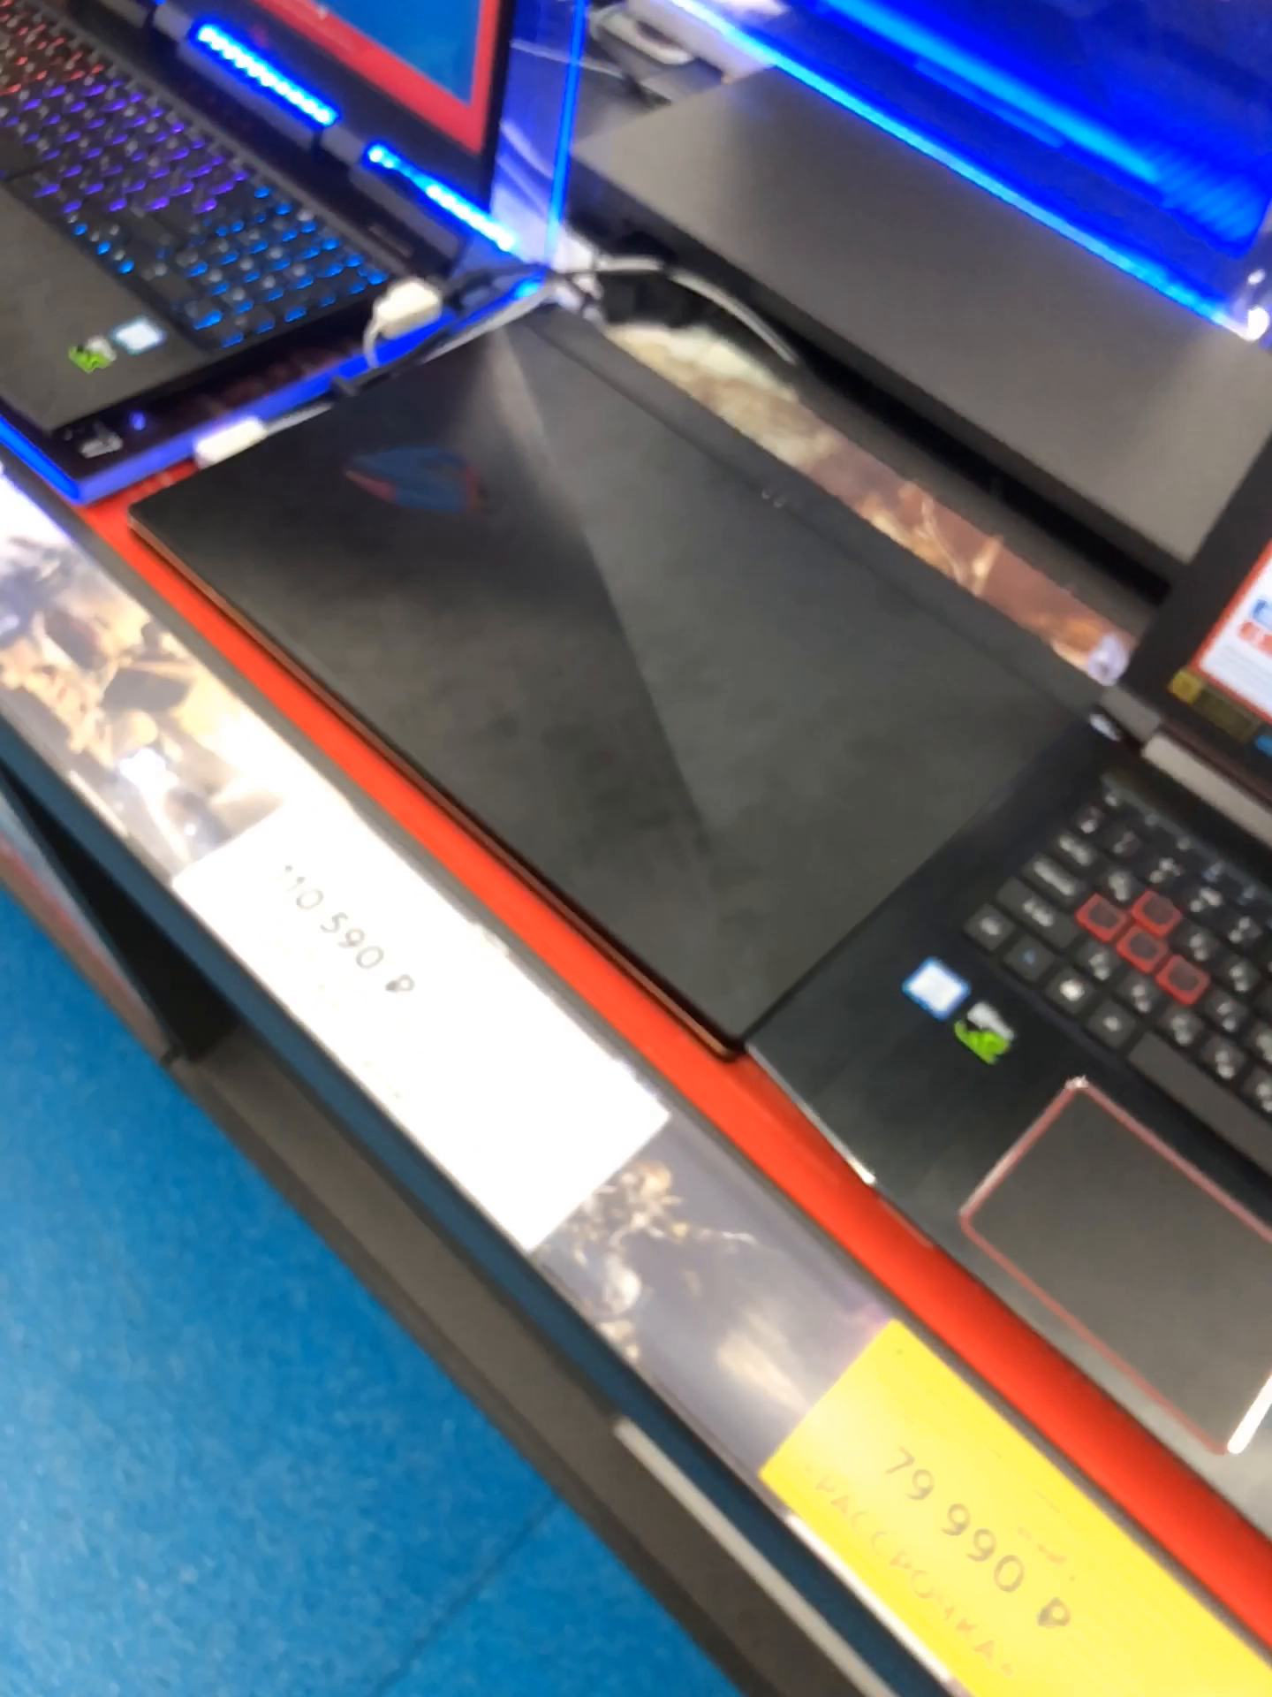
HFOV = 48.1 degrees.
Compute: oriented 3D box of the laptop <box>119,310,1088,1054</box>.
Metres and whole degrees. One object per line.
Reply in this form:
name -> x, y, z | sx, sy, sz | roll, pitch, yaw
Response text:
laptop -> -0.013, -0.104, 0.626 | 0.348, 0.006, 0.254 | 41, 59, 19
